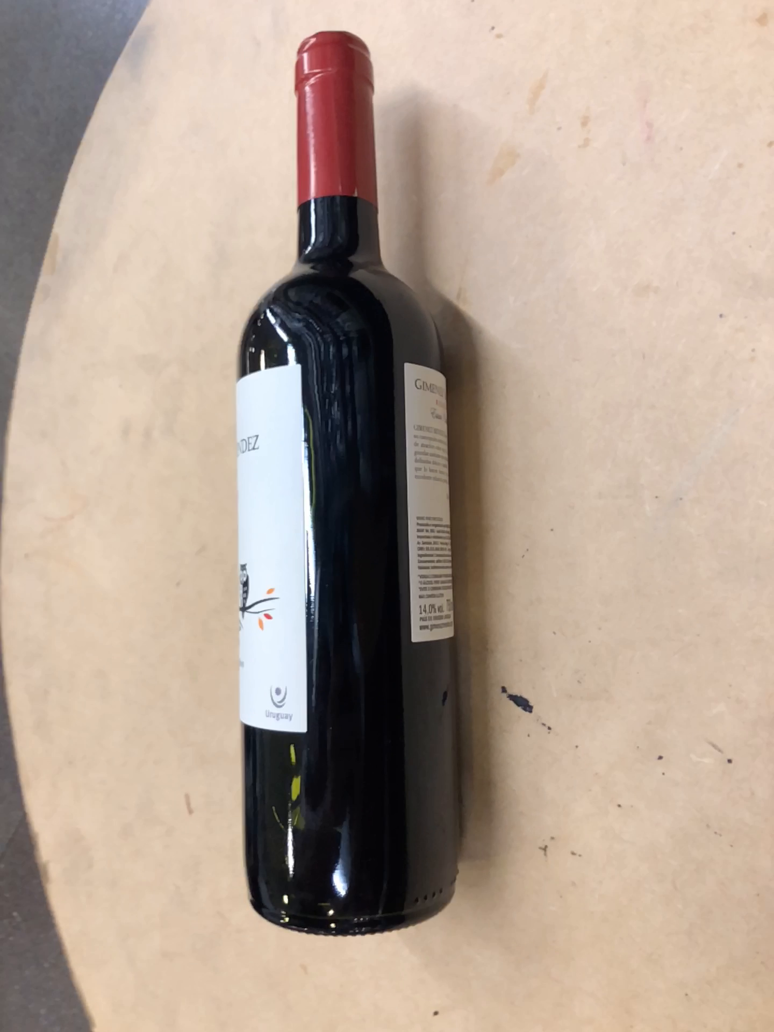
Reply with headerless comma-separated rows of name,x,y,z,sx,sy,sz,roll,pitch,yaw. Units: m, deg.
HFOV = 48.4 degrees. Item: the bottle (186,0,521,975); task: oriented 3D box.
bottle,-0.013,-0.031,0.284,0.080,0.060,0.310,-5,85,38
